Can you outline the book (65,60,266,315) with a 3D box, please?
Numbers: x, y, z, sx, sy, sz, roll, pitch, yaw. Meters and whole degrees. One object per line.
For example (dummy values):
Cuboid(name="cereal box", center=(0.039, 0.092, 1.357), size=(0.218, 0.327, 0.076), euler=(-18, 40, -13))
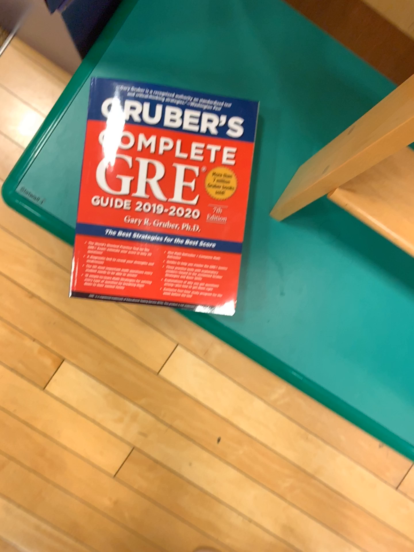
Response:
Cuboid(name="book", center=(-0.052, -0.107, 0.553), size=(0.220, 0.040, 0.290), euler=(6, 92, -5))
